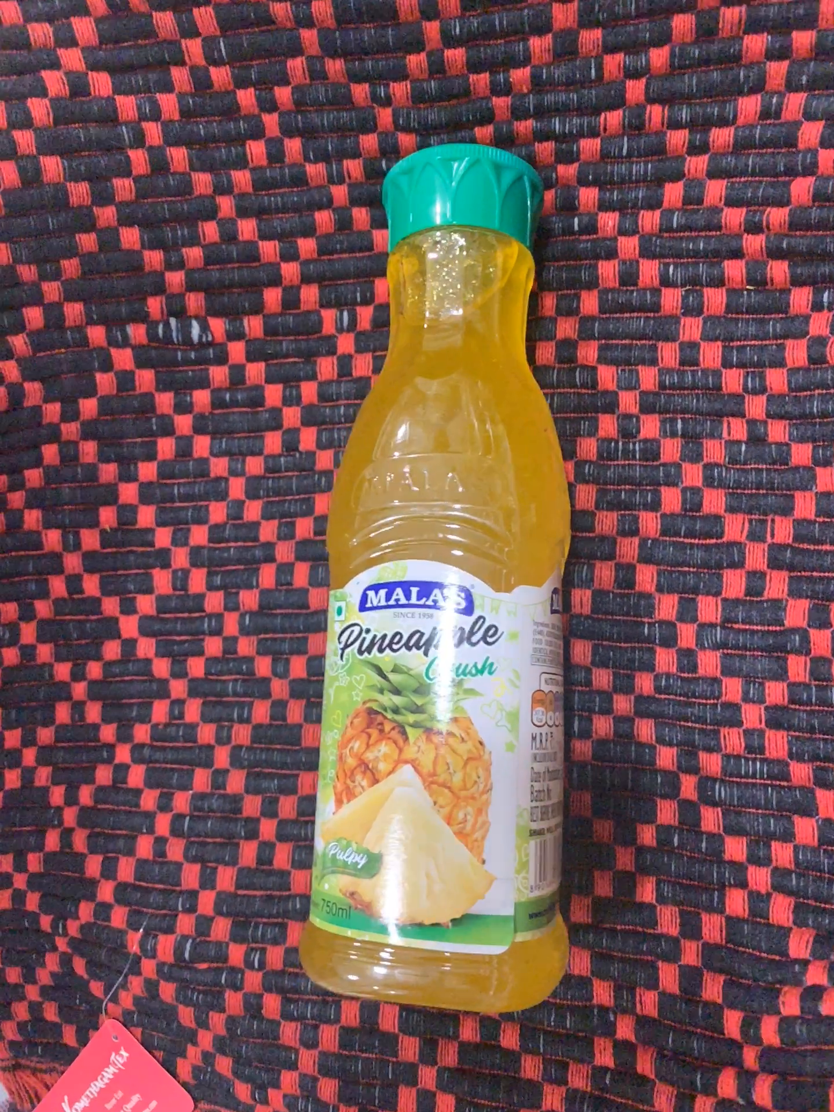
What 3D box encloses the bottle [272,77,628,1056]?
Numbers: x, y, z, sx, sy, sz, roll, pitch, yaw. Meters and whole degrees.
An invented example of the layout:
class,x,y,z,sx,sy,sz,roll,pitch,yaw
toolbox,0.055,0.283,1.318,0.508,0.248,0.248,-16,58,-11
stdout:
class,x,y,z,sx,sy,sz,roll,pitch,yaw
bottle,0.017,-0.002,0.243,0.080,0.070,0.230,0,80,13
